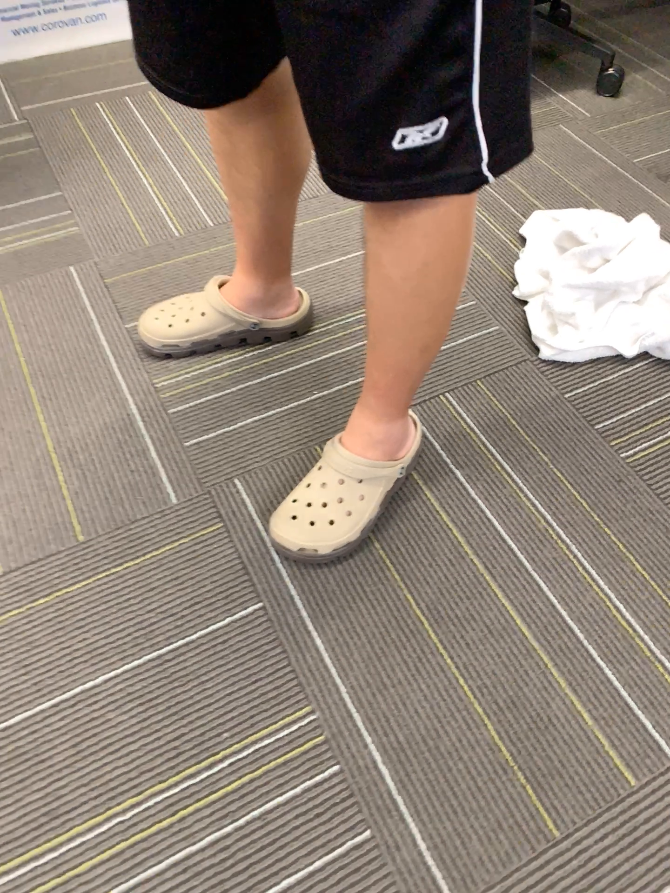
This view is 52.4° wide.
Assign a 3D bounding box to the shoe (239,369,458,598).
[{"bbox_3d":[0.028,0.042,0.998,0.140,0.090,0.331,32,58,22],"label":"shoe"}]

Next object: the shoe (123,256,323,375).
[{"bbox_3d":[-0.198,-0.237,1.214,0.330,0.090,0.151,-9,53,-8],"label":"shoe"}]
